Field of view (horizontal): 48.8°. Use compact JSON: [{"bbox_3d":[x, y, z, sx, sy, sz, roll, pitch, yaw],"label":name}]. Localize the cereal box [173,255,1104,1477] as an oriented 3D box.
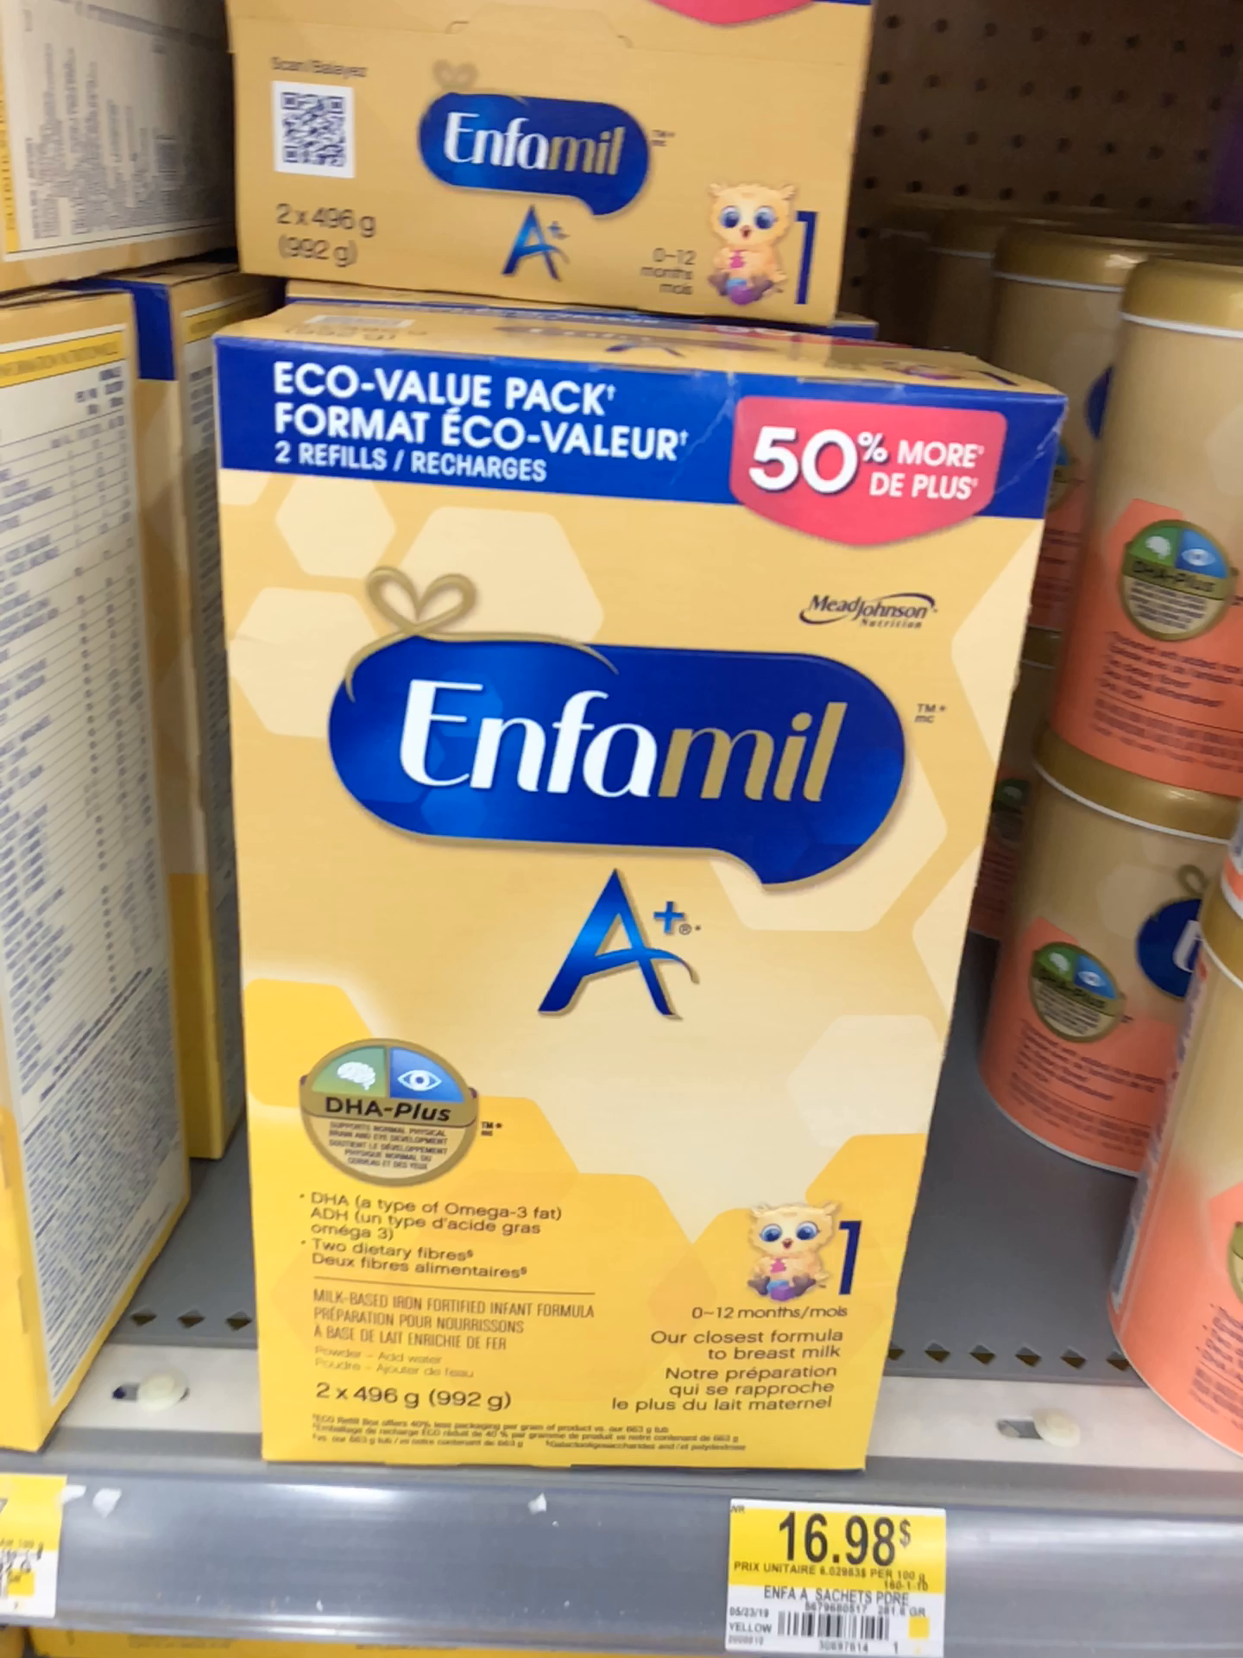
[{"bbox_3d":[-0.006,0.018,0.308,0.150,0.258,0.081,3,24,-4],"label":"cereal box"}]
